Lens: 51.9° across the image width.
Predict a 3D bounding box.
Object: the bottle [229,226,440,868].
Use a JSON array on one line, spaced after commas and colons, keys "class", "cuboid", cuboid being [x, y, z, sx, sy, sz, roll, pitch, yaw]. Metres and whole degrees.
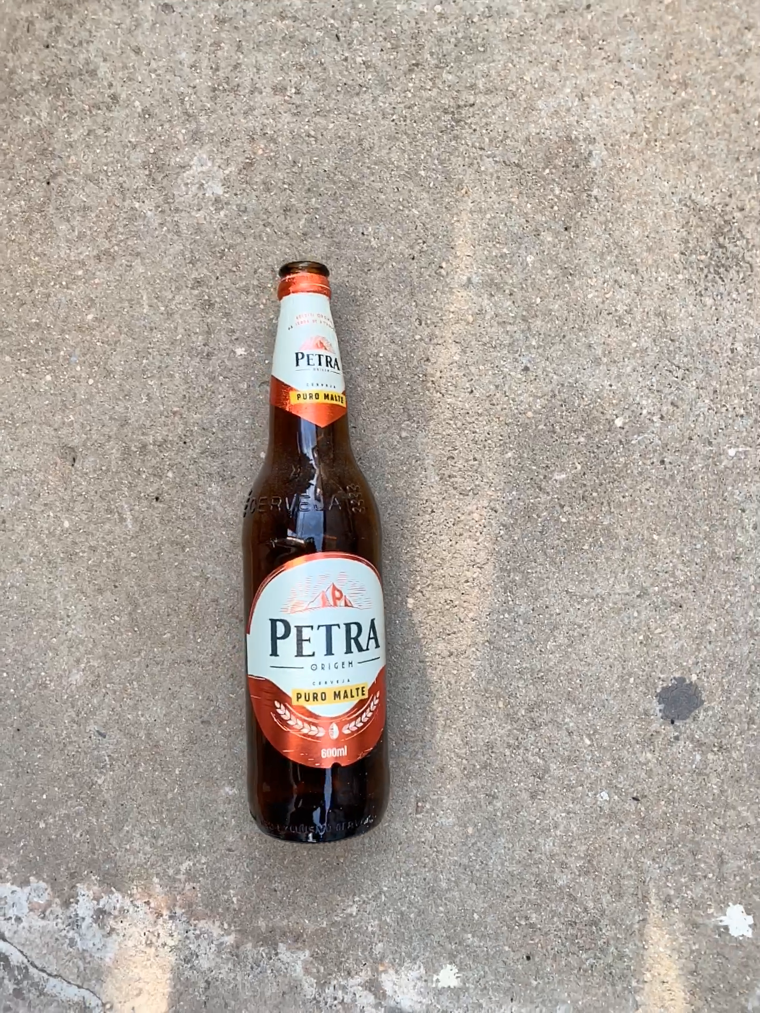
[{"class": "bottle", "cuboid": [-0.025, 0.016, 0.375, 0.080, 0.070, 0.270, 2, 84, -20]}]
